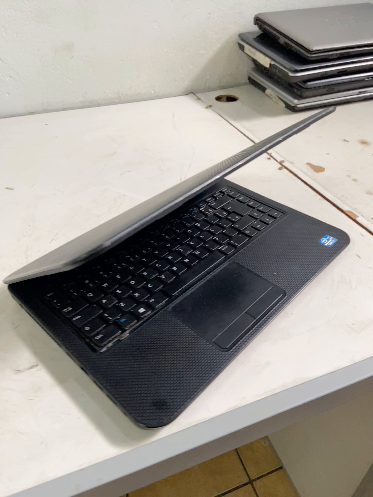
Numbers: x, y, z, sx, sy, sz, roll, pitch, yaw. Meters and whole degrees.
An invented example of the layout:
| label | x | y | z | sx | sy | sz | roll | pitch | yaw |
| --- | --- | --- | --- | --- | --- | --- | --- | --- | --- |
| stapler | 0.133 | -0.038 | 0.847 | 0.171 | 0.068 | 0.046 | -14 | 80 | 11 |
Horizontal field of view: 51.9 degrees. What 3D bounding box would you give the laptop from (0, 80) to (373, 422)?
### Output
| label | x | y | z | sx | sy | sz | roll | pitch | yaw |
| --- | --- | --- | --- | --- | --- | --- | --- | --- | --- |
| laptop | 0.007 | -0.047 | 0.406 | 0.230 | 0.141 | 0.331 | 30 | 49 | 33 |
